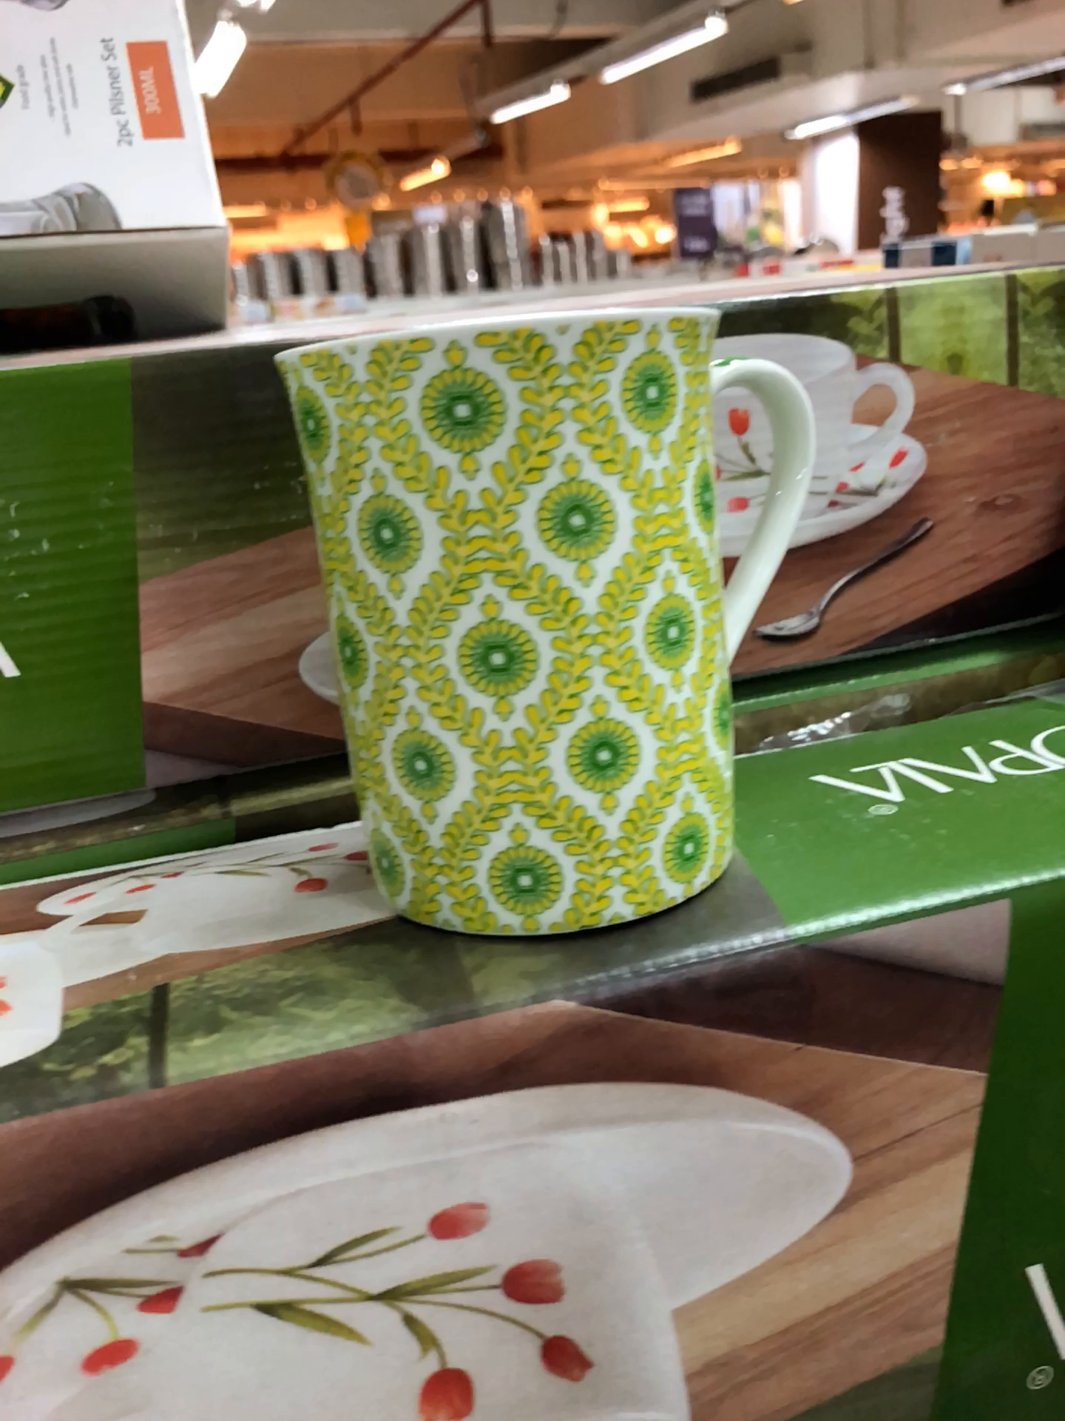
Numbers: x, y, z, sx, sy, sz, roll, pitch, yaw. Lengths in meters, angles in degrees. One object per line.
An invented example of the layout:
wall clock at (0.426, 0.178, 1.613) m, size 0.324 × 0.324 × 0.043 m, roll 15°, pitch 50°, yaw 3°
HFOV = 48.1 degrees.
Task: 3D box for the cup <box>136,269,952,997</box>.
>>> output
cup at (0.008, -0.022, 0.211) m, size 0.110 × 0.090 × 0.080 m, roll -17°, pitch 15°, yaw -42°
